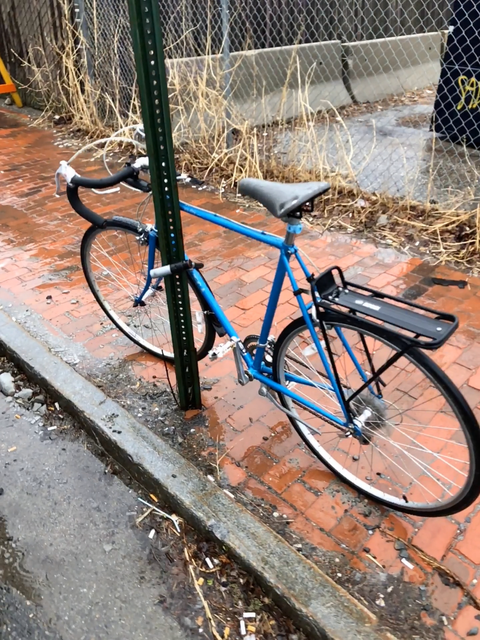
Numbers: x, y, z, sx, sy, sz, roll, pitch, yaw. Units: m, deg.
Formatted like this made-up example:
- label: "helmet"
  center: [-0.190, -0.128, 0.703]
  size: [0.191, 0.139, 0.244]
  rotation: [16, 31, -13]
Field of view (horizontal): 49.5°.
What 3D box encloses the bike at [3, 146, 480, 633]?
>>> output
- label: "bike"
  center: [-0.064, 0.046, 1.882]
  size: [1.869, 0.919, 0.474]
  rotation: [25, 40, 34]
